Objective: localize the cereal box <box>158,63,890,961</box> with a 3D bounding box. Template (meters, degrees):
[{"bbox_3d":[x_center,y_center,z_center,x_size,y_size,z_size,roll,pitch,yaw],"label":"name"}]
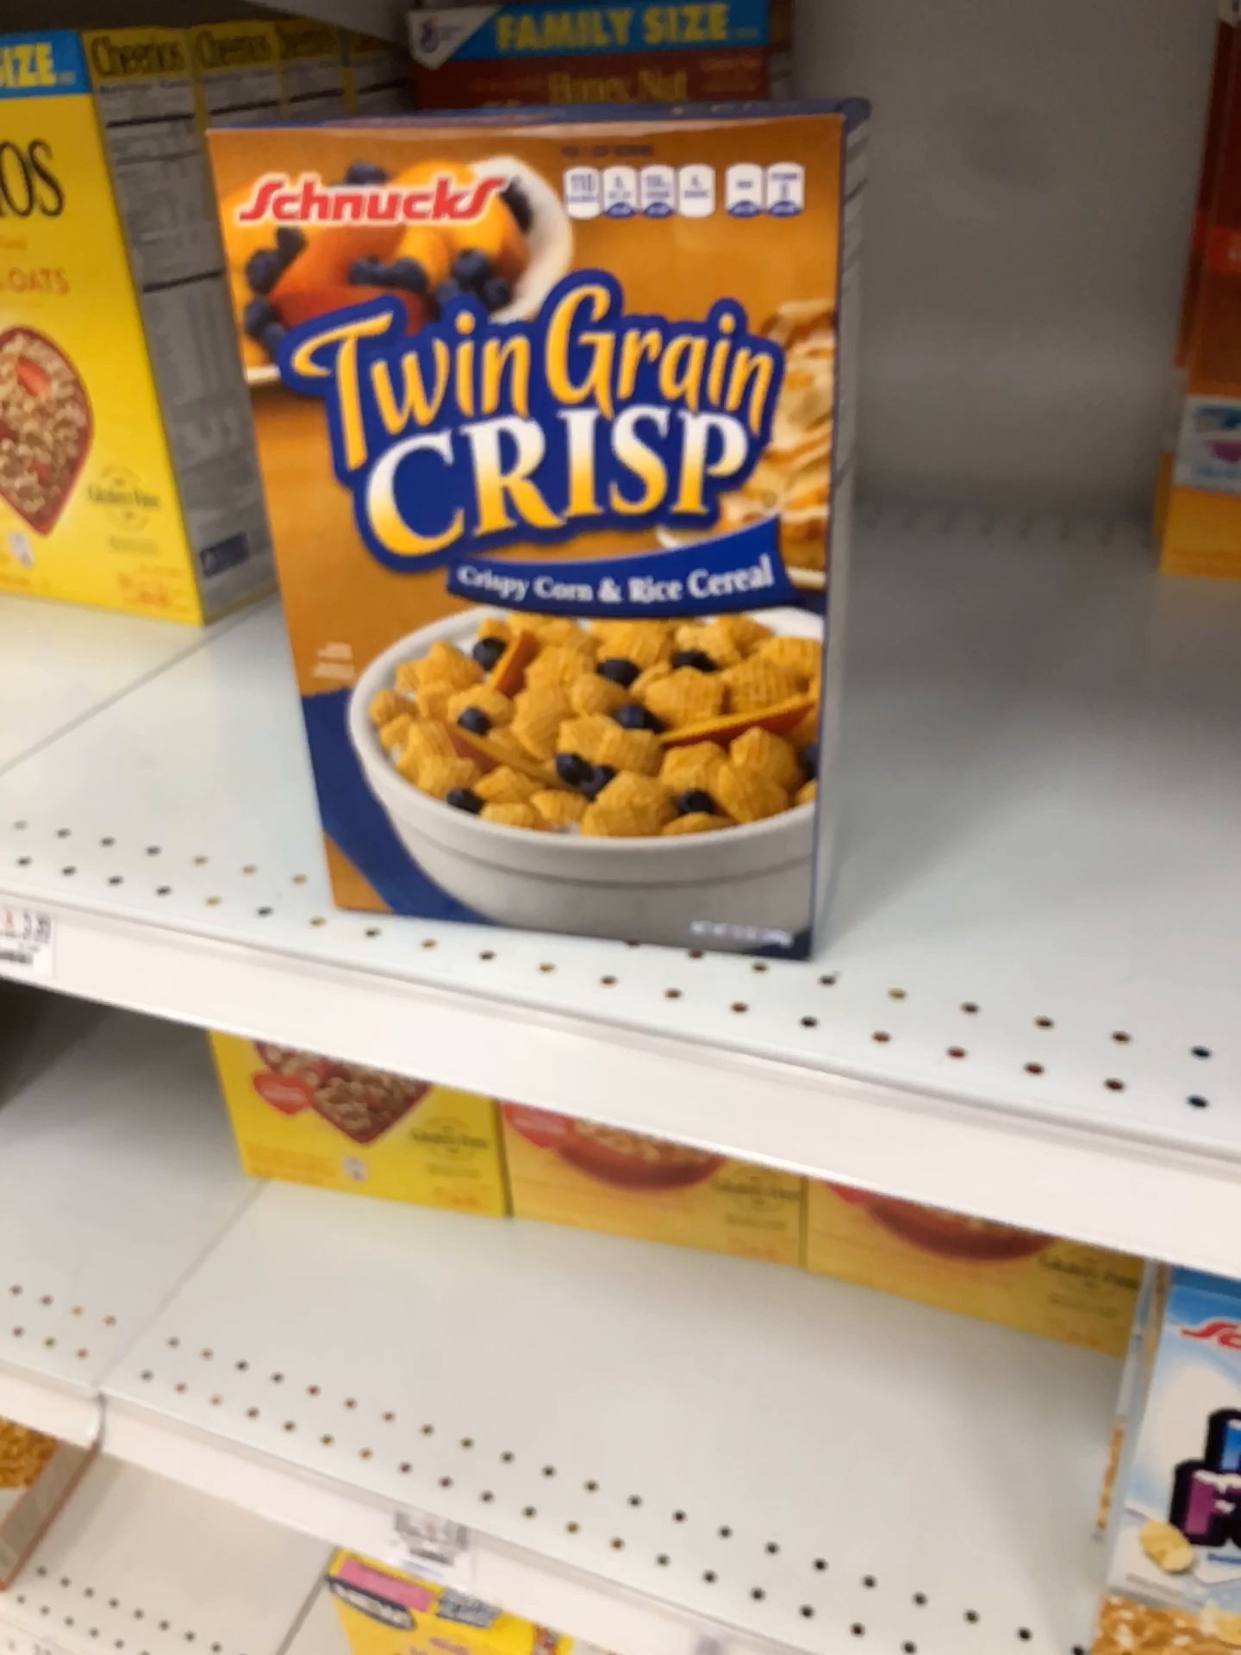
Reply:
[{"bbox_3d":[-0.021,-0.101,0.495,0.210,0.289,0.070,5,32,13],"label":"cereal box"}]
